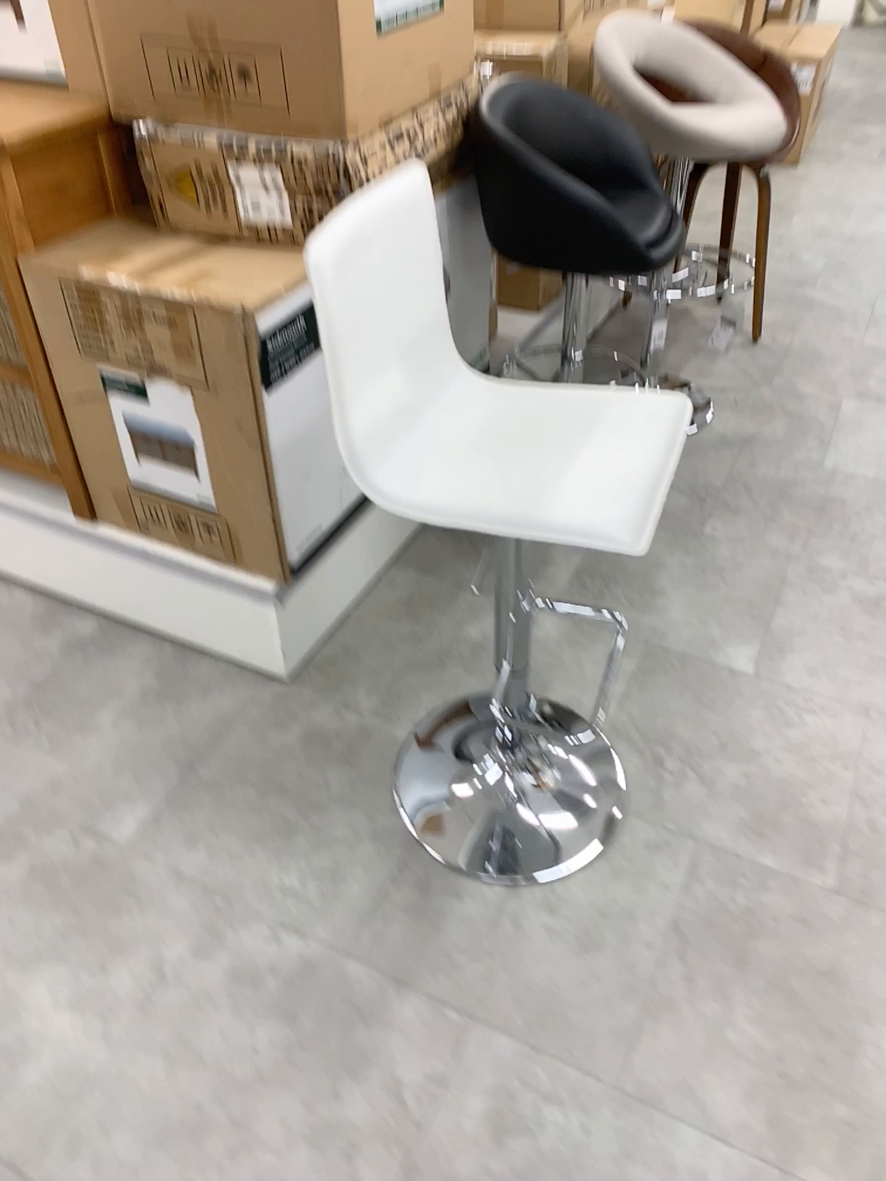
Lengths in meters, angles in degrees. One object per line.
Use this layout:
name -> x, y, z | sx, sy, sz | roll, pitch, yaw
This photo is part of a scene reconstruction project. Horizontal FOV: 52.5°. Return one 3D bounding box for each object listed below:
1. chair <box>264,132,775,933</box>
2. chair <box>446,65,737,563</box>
chair -> 0.120, -0.047, 1.288 | 0.442, 0.989, 0.463 | 13, 41, 16
chair -> 0.308, -0.609, 2.022 | 0.443, 0.909, 0.473 | 15, 42, 19
